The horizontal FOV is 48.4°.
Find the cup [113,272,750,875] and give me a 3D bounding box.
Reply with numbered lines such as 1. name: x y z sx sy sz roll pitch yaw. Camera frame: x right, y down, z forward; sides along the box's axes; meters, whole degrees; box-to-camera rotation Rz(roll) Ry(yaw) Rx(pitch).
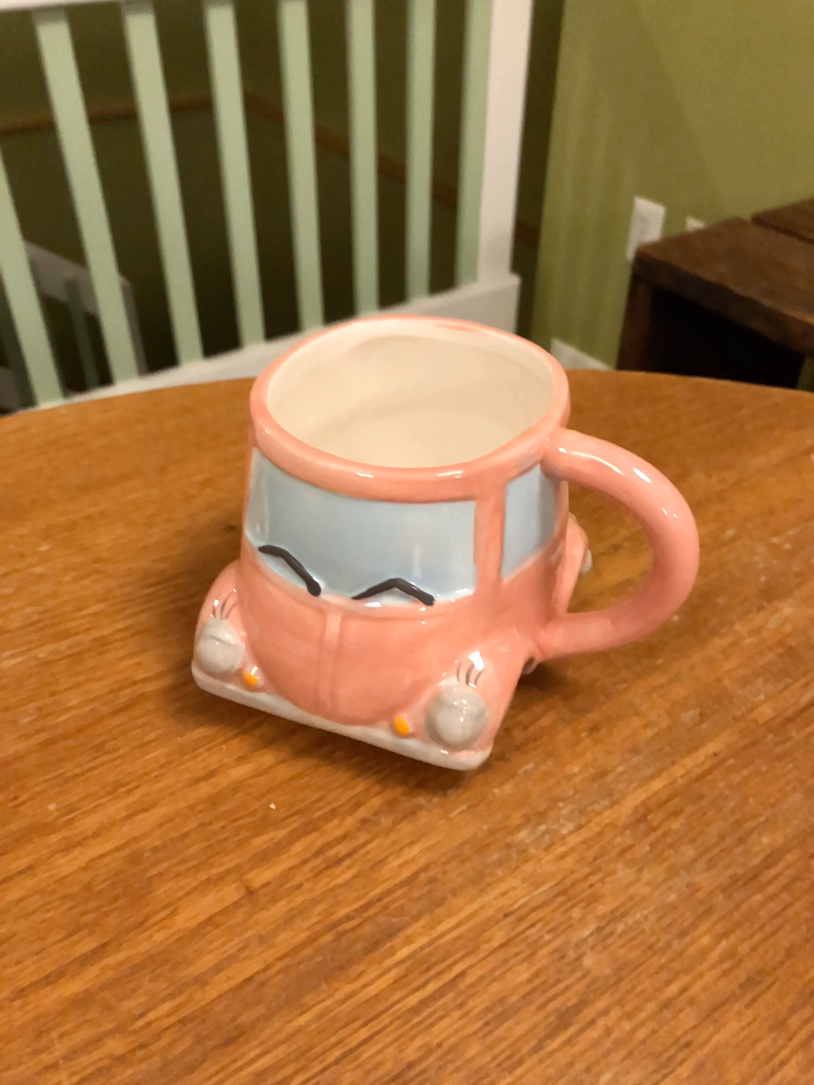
1. cup: 0.016 -0.003 0.278 0.139 0.097 0.128 0 38 0
